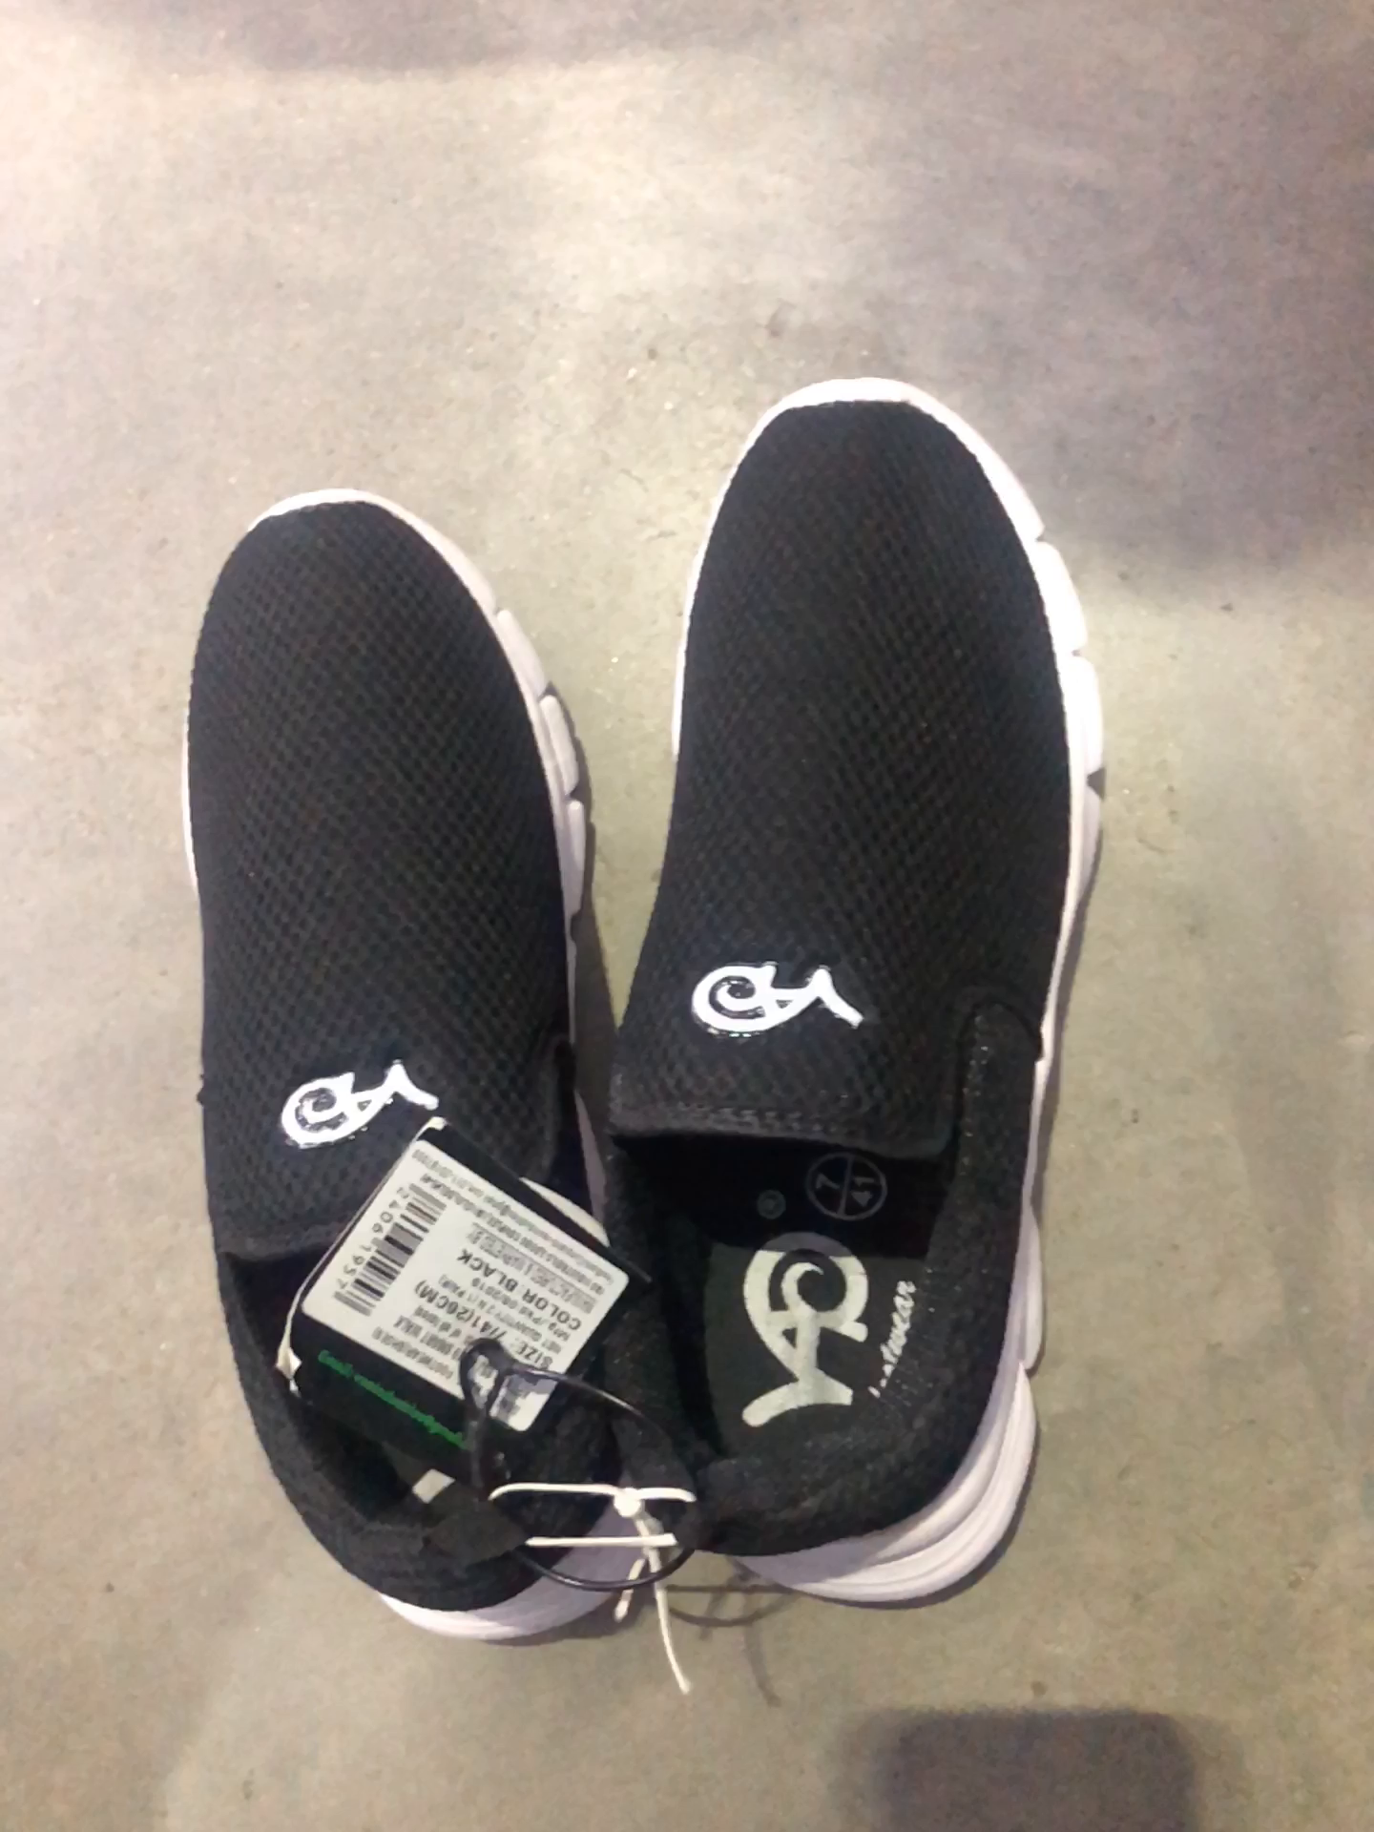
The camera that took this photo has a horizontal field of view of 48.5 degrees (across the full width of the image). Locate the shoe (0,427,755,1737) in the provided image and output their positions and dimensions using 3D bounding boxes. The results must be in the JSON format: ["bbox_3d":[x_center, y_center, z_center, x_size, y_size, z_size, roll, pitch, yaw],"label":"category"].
[{"bbox_3d":[-0.071,0.036,0.374,0.110,0.100,0.260,-14,81,7],"label":"shoe"}]

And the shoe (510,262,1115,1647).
[{"bbox_3d":[0.039,0.006,0.359,0.110,0.100,0.270,1,82,18],"label":"shoe"}]
